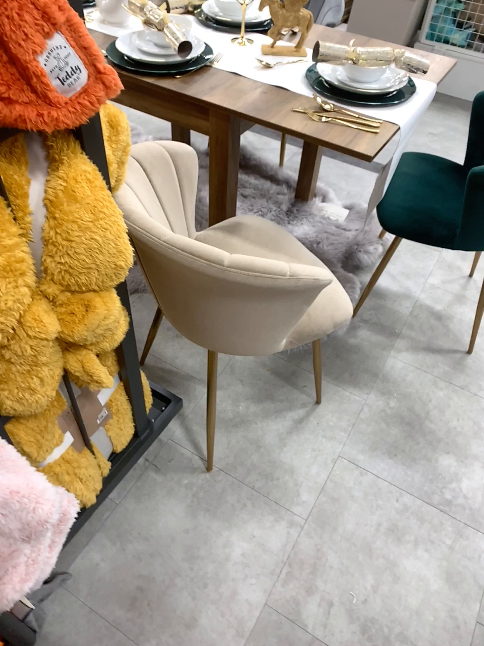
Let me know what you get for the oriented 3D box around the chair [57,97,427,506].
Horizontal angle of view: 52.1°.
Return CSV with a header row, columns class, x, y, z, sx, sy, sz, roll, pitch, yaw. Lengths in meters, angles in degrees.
class,x,y,z,sx,sy,sz,roll,pitch,yaw
chair,-0.038,-0.057,1.269,0.536,0.722,0.564,-24,53,-24
